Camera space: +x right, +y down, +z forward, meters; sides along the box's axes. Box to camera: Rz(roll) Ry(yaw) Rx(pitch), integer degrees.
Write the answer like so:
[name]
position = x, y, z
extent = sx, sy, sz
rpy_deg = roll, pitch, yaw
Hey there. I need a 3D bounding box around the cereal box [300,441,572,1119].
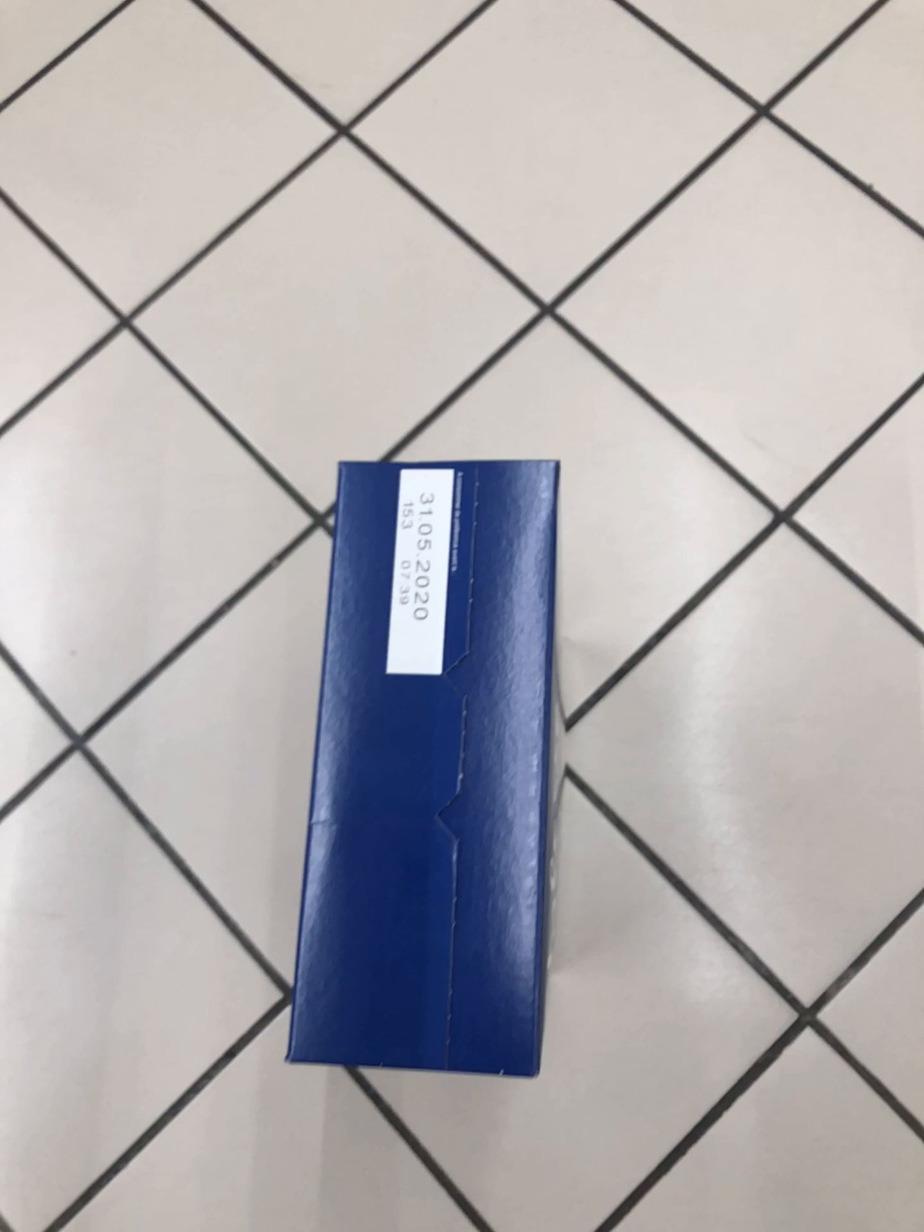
[cereal box]
position = 0.006, 0.075, 0.462
extent = 0.080, 0.280, 0.210
rpy_deg = 0, 77, 5
